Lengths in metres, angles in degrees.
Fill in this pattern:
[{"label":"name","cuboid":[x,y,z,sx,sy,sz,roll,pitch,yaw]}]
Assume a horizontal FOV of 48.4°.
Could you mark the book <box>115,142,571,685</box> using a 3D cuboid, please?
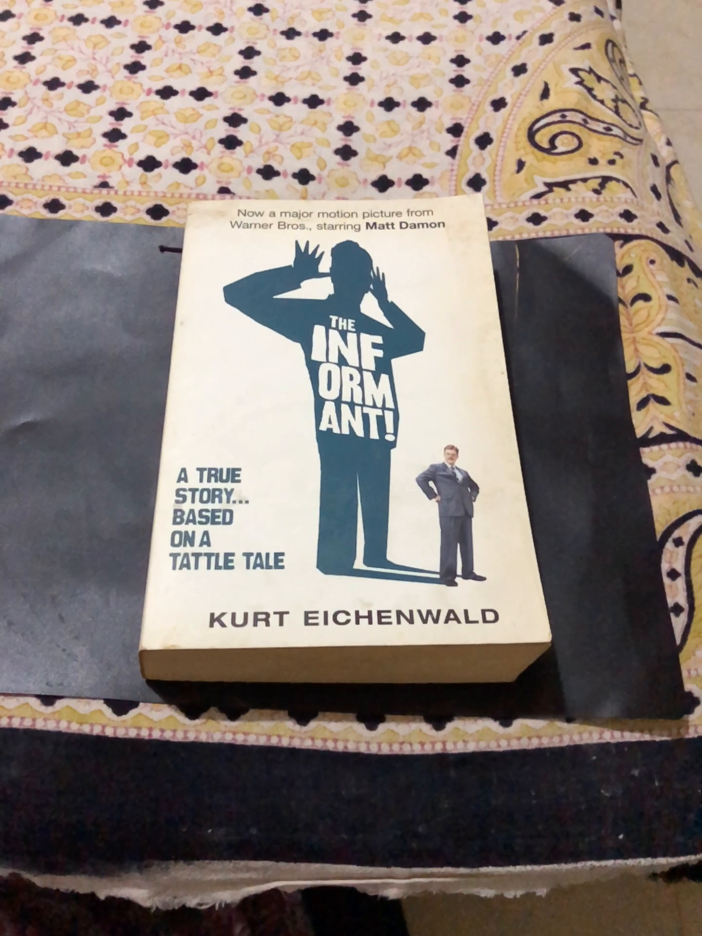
[{"label":"book","cuboid":[-0.005,-0.034,0.319,0.140,0.050,0.230,0,60,-3]}]
